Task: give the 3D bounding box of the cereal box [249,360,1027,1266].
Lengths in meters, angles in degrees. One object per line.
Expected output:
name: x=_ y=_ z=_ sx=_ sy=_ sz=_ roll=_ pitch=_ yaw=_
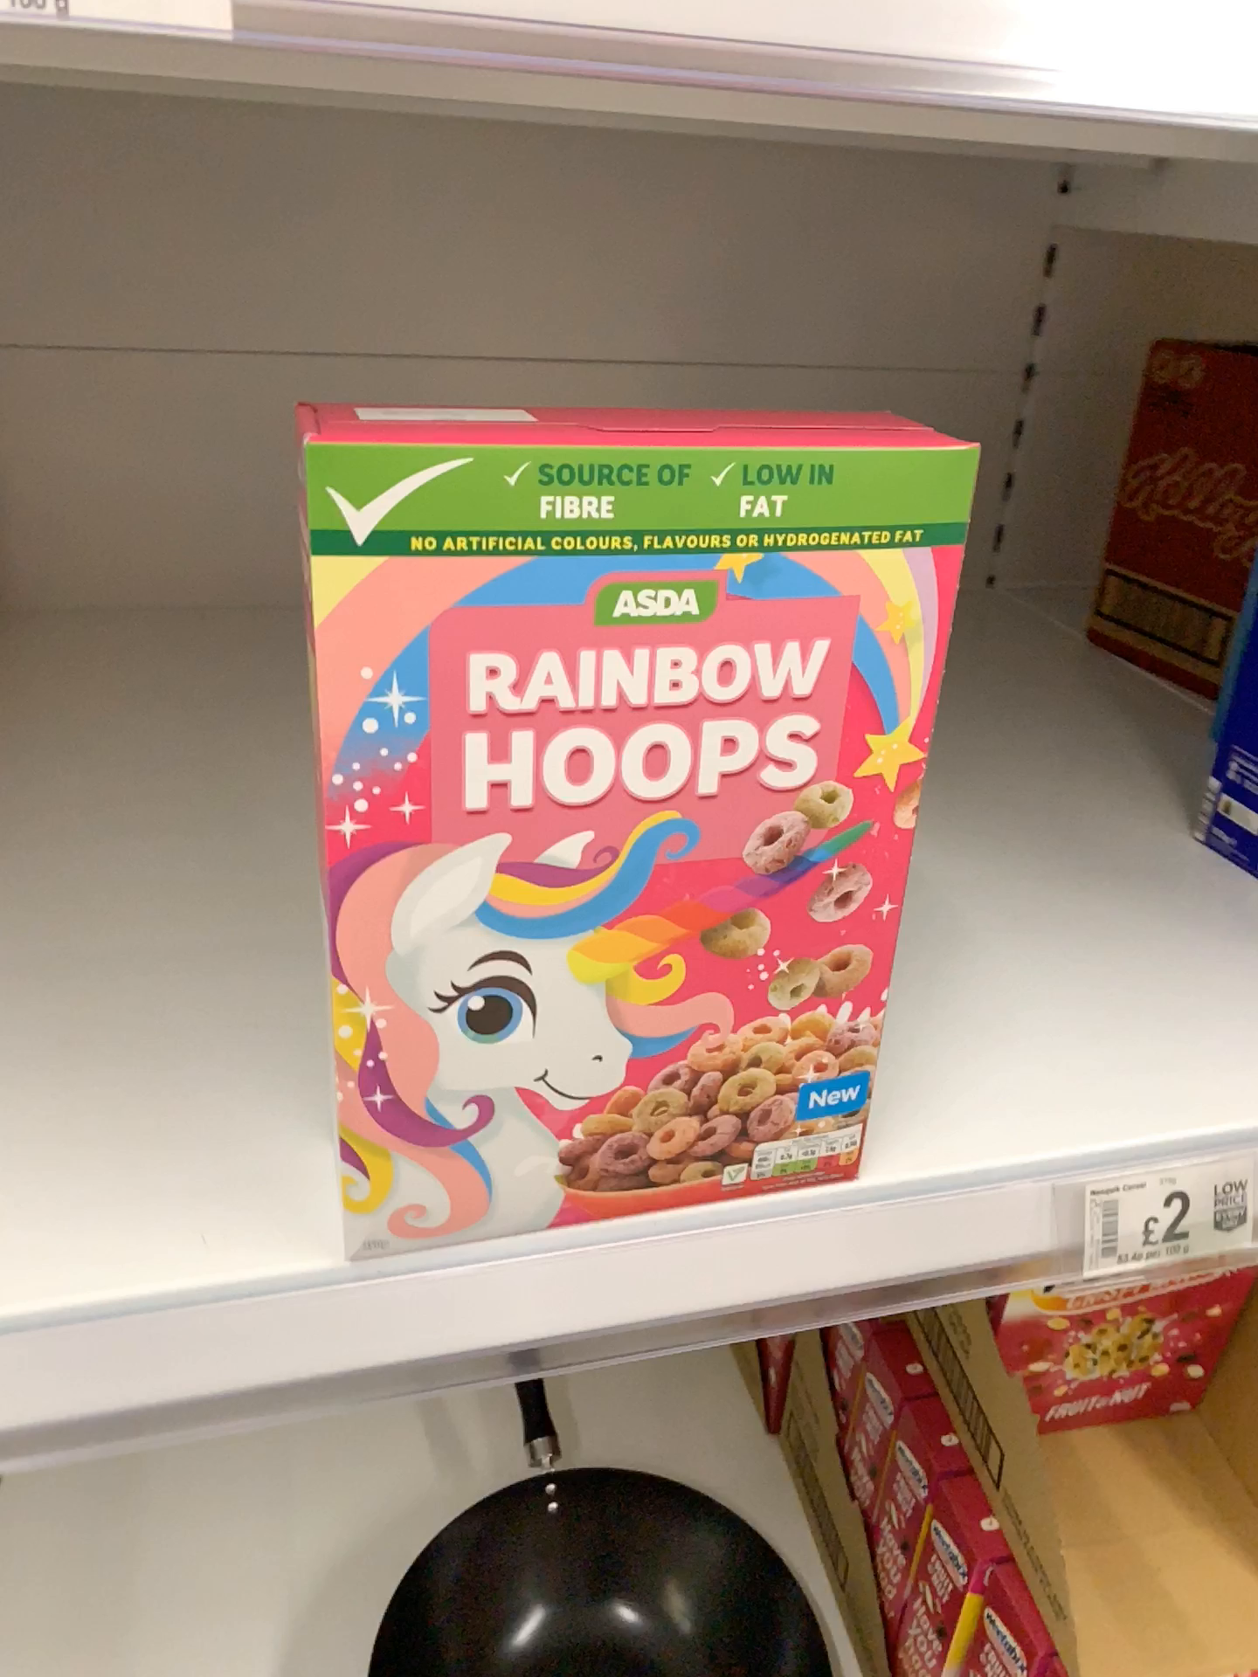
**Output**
cereal box: x=-0.005 y=-0.003 z=0.425 sx=0.210 sy=0.278 sz=0.060 roll=-4 pitch=28 yaw=-16
